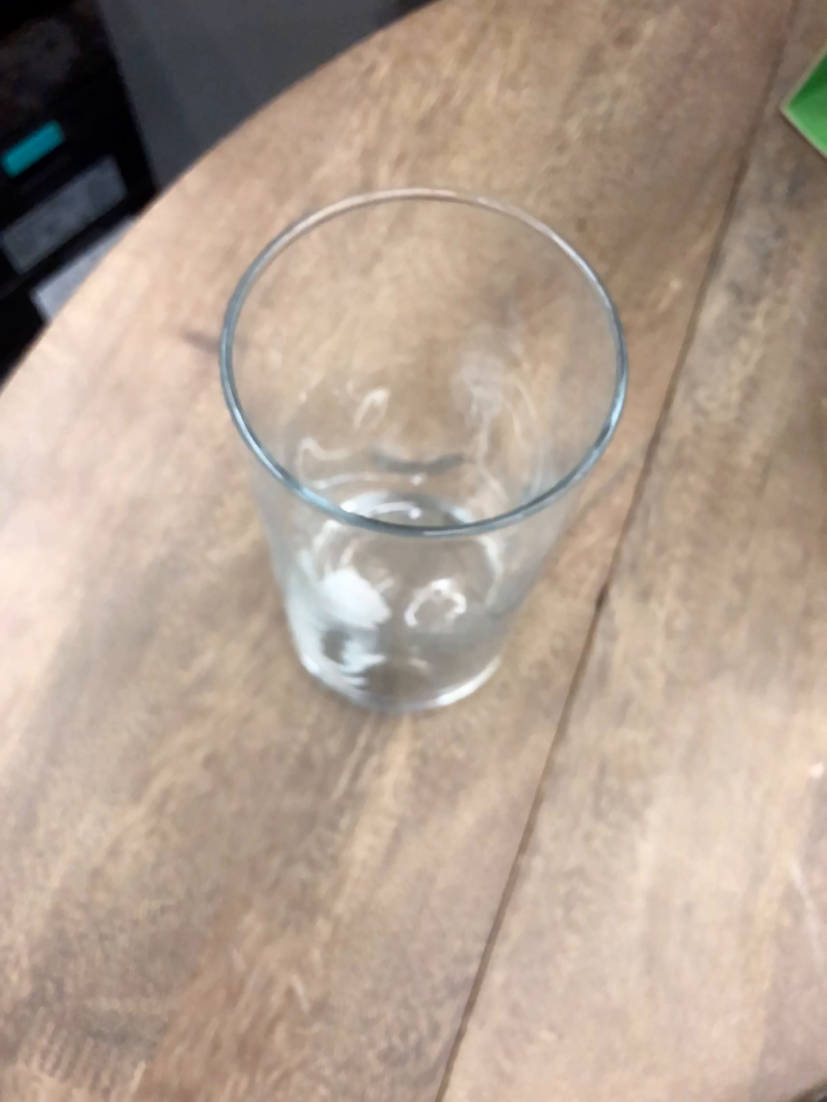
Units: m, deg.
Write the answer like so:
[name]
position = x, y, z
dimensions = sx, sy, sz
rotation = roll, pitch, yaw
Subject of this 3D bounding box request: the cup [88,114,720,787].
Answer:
[cup]
position = -0.004, -0.009, 0.235
dimensions = 0.081, 0.144, 0.078
rotation = 1, 68, -2
